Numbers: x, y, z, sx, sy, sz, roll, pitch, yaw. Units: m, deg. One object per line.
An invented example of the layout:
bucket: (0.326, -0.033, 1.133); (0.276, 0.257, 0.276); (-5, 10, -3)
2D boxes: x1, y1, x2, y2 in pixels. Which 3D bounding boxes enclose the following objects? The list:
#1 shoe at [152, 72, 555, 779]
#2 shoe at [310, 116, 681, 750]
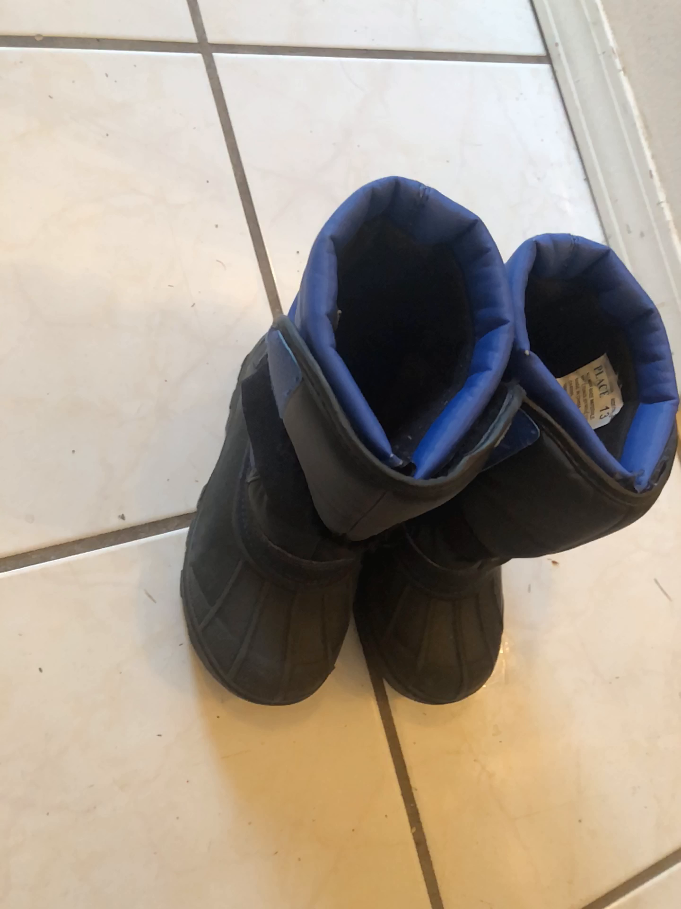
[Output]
shoe: (-0.014, 0.003, 0.345); (0.100, 0.200, 0.230); (5, 76, -22)
shoe: (0.068, 0.004, 0.396); (0.100, 0.200, 0.250); (3, 77, -22)
